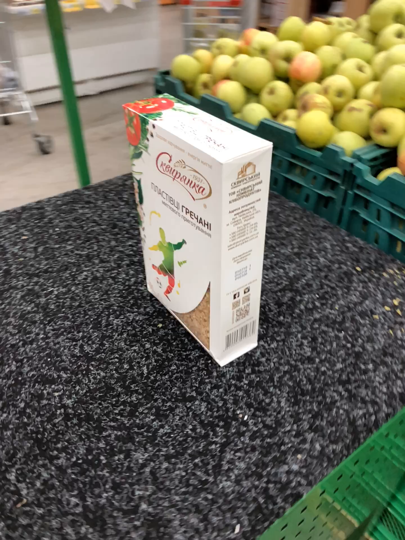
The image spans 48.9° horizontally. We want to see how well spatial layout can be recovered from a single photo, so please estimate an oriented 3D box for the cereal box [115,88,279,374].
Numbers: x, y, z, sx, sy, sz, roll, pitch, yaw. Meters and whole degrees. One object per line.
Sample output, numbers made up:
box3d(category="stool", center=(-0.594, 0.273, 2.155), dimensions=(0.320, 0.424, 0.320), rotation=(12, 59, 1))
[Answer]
box3d(category="cereal box", center=(-0.009, -0.037, 0.454), dimensions=(0.060, 0.238, 0.161), rotation=(-24, 44, -26))
